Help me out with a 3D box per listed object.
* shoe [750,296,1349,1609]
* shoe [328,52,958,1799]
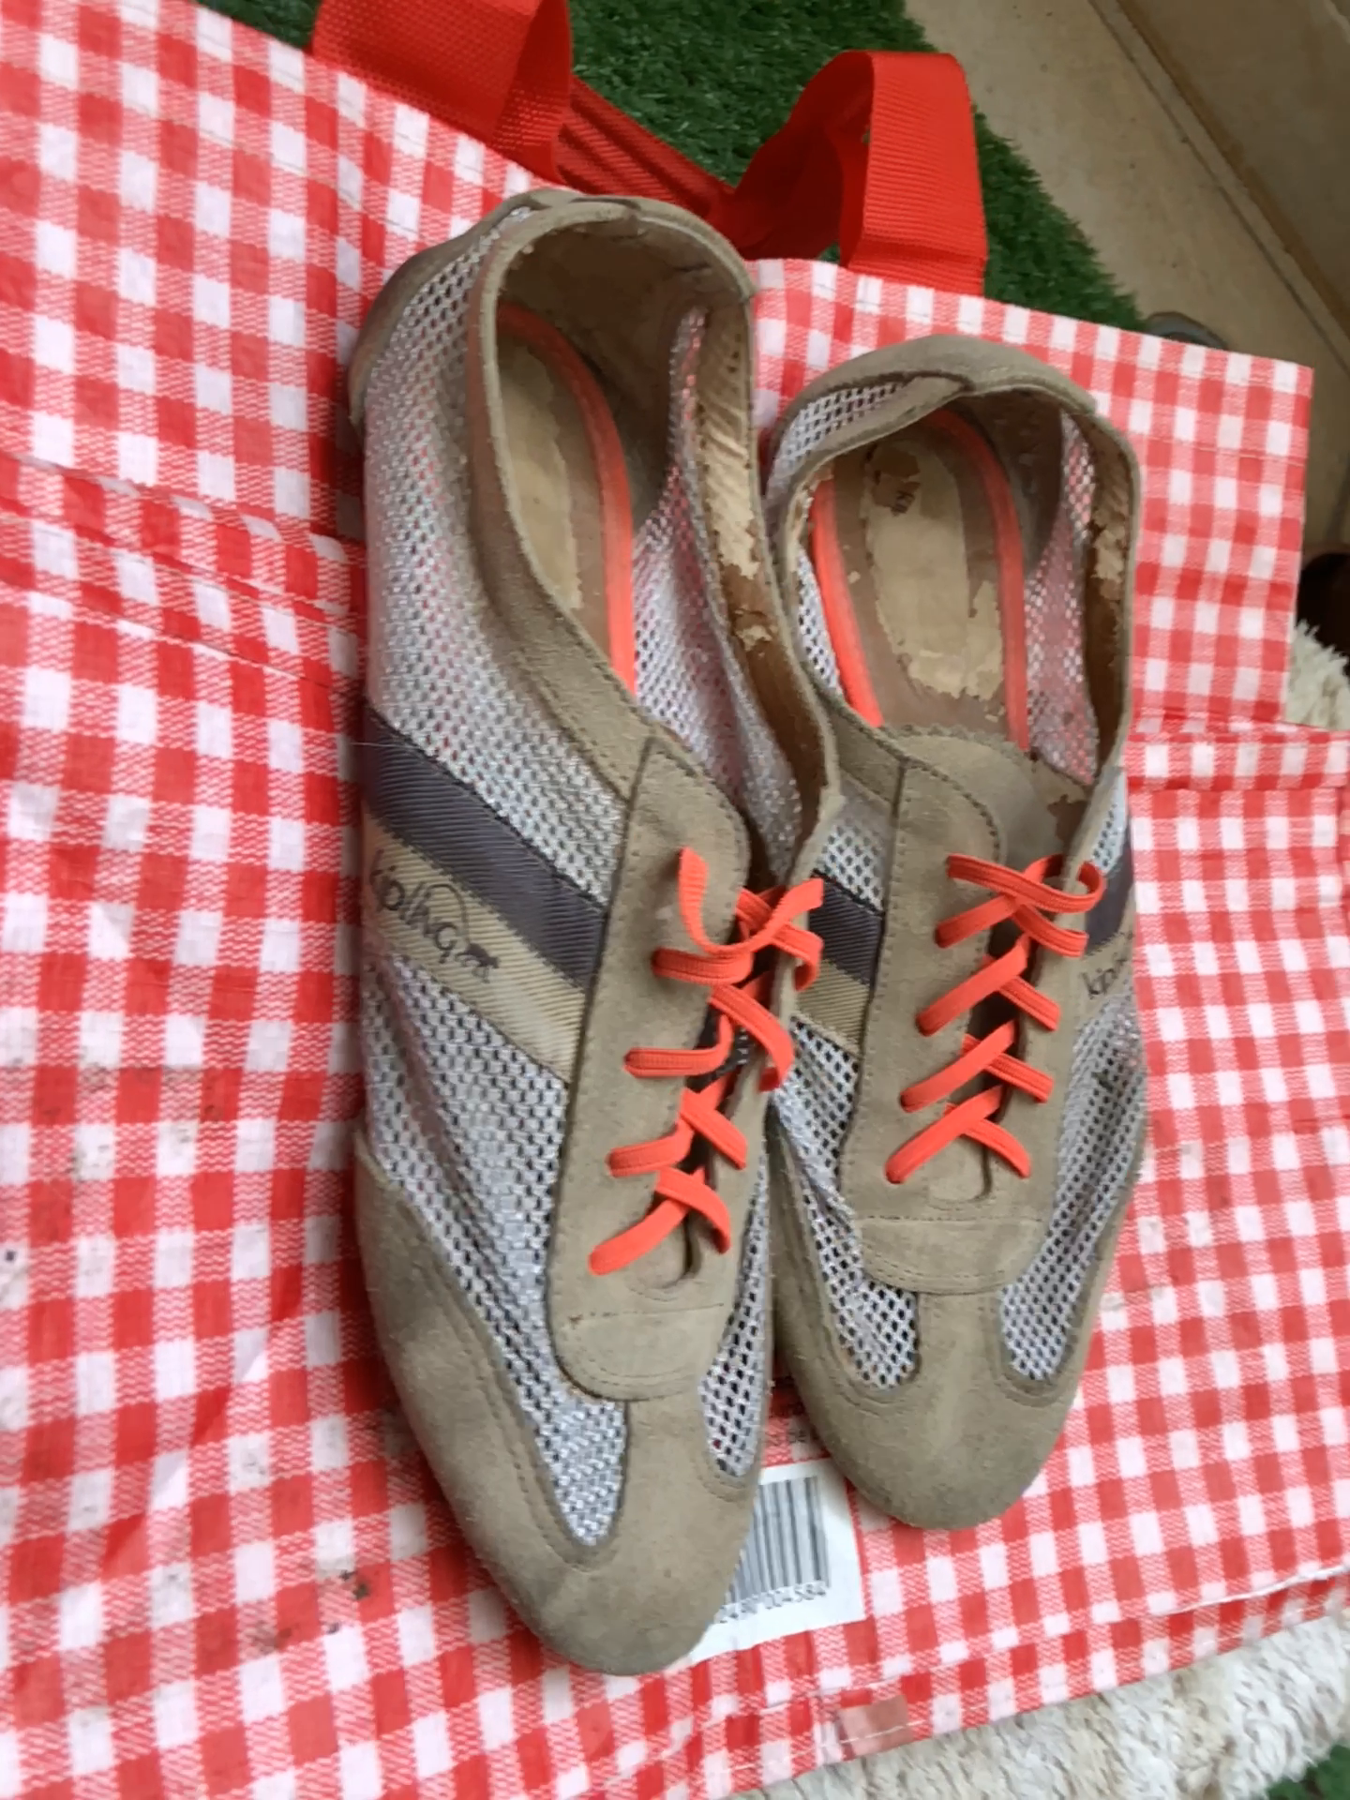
[{"bbox_3d":[0.074,0.010,0.302,0.100,0.050,0.230,1,92,-20],"label":"shoe"},{"bbox_3d":[0.000,0.010,0.250,0.101,0.050,0.240,0,91,-53],"label":"shoe"}]
